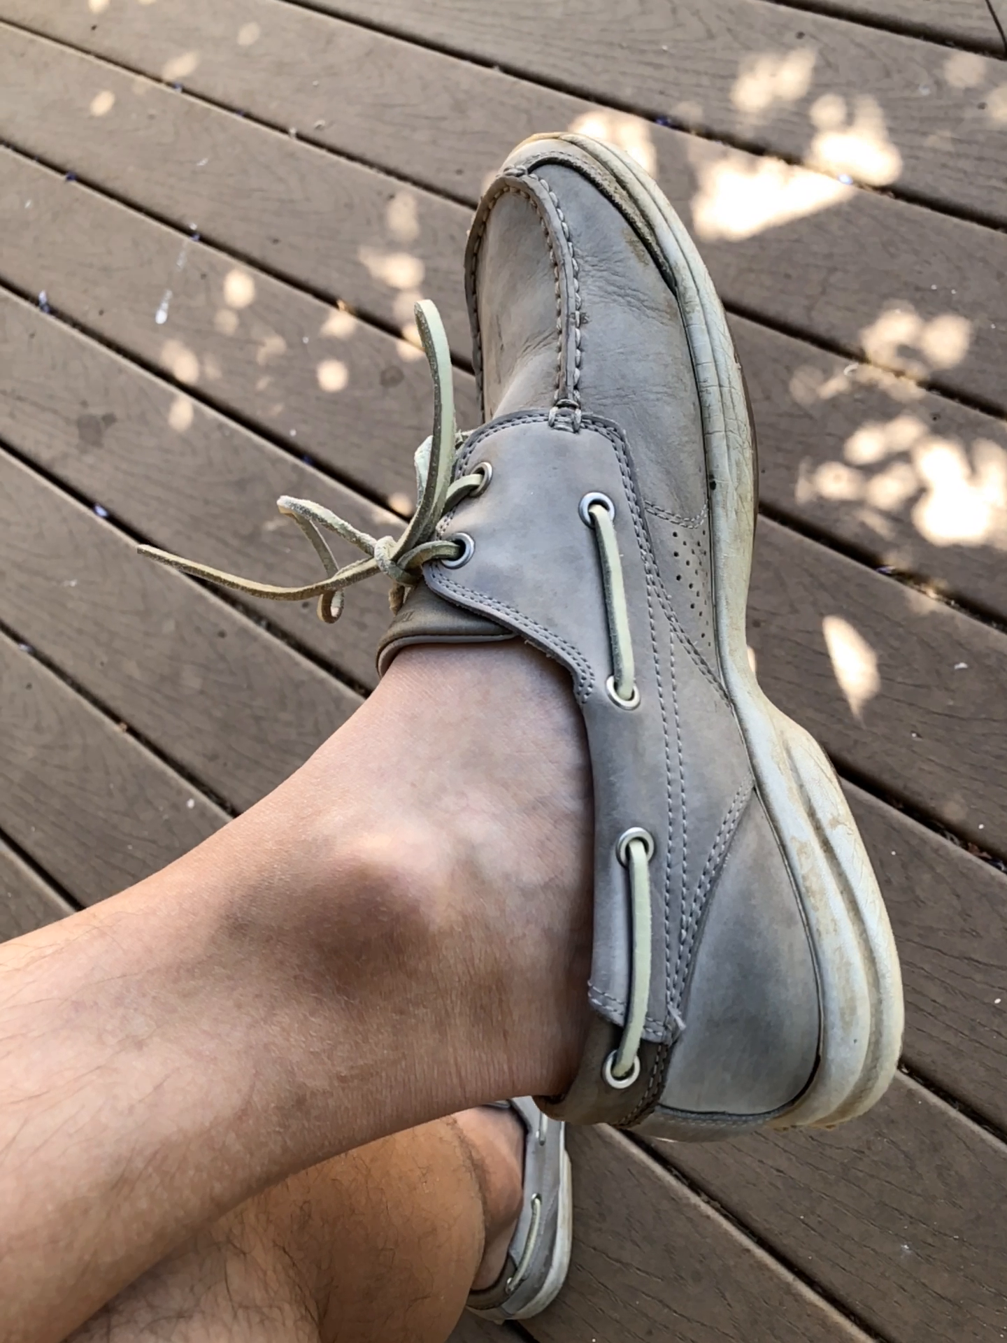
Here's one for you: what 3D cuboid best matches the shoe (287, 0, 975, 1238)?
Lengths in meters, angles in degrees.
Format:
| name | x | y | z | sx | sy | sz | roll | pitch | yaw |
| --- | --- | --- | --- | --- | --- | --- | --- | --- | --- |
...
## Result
| name | x | y | z | sx | sy | sz | roll | pitch | yaw |
| --- | --- | --- | --- | --- | --- | --- | --- | --- | --- |
| shoe | 0.013 | -0.024 | 0.313 | 0.106 | 0.113 | 0.303 | 1 | 71 | -24 |
